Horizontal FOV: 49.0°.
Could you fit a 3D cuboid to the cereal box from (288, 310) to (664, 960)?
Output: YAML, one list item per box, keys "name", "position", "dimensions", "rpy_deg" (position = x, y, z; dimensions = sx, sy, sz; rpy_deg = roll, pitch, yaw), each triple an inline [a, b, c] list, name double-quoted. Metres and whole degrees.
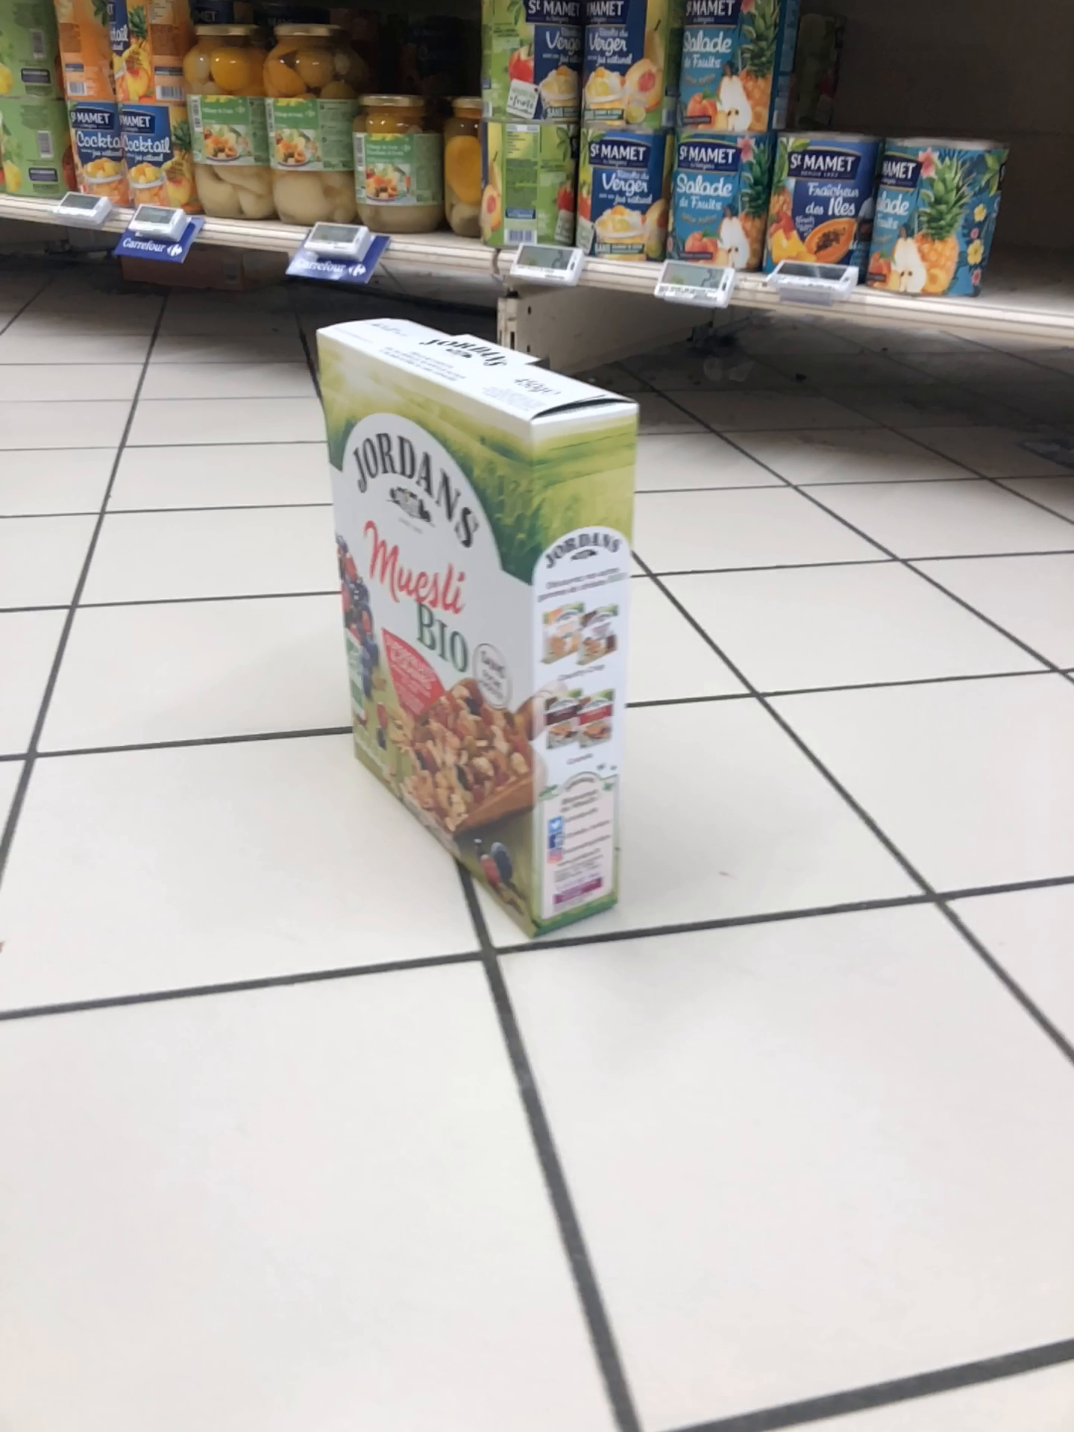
- name: "cereal box"
  position: [-0.031, -0.044, 0.508]
  dimensions: [0.060, 0.219, 0.190]
  rpy_deg: [-17, 32, -27]
